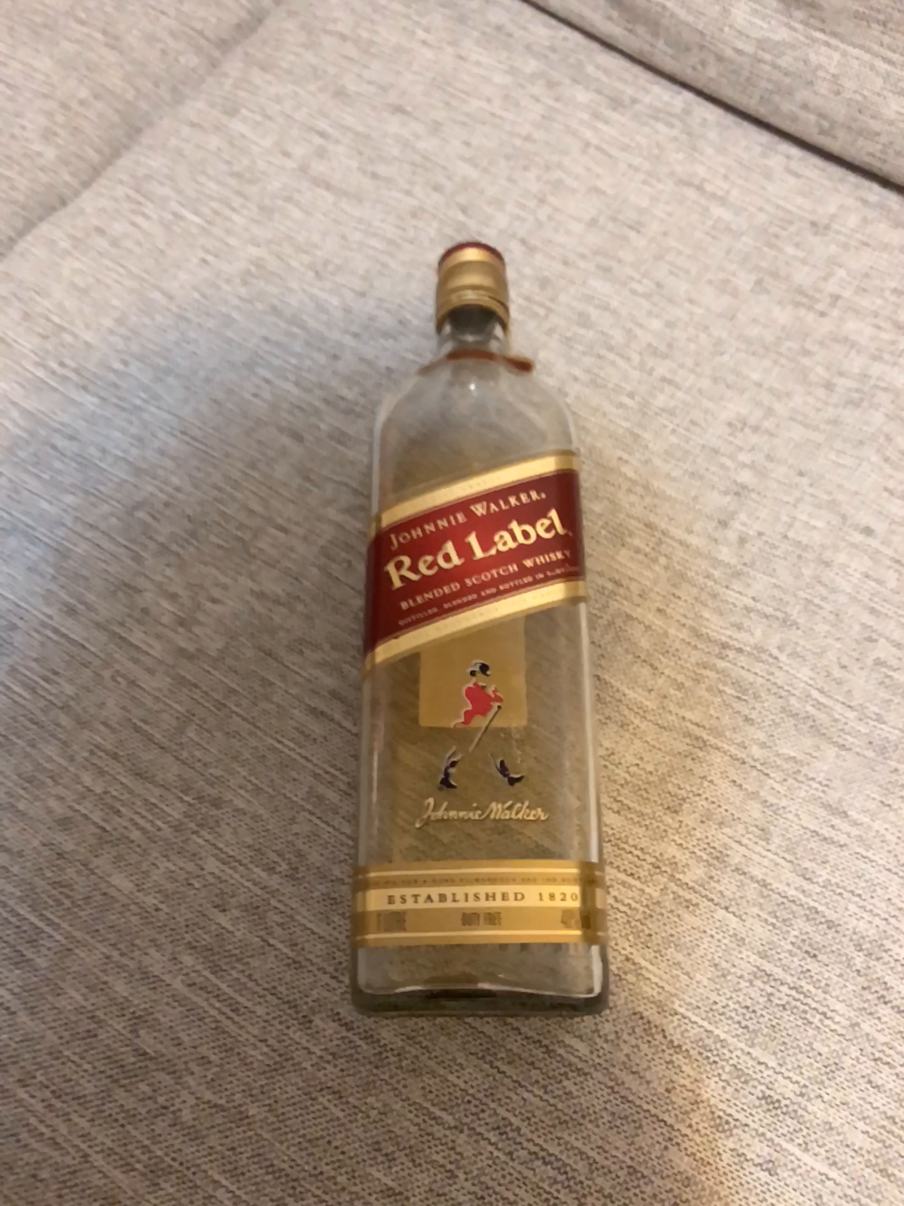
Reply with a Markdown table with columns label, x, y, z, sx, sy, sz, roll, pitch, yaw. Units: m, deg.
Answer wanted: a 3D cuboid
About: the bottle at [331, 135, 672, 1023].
| label | x | y | z | sx | sy | sz | roll | pitch | yaw |
| --- | --- | --- | --- | --- | --- | --- | --- | --- | --- |
| bottle | 0.013 | -0.020 | 0.357 | 0.090 | 0.070 | 0.311 | 1 | 68 | -1 |
